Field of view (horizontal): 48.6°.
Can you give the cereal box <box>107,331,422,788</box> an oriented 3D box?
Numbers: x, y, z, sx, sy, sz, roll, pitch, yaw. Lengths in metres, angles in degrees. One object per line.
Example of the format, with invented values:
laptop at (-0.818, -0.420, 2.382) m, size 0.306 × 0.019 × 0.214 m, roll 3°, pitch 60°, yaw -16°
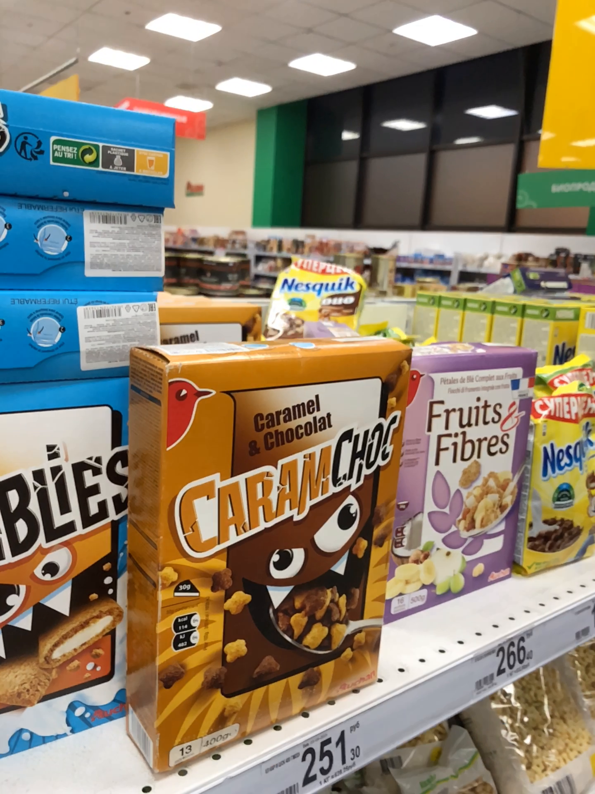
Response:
cereal box at (-0.022, 0.095, 0.458) m, size 0.200 × 0.269 × 0.060 m, roll -5°, pitch 16°, yaw -36°
